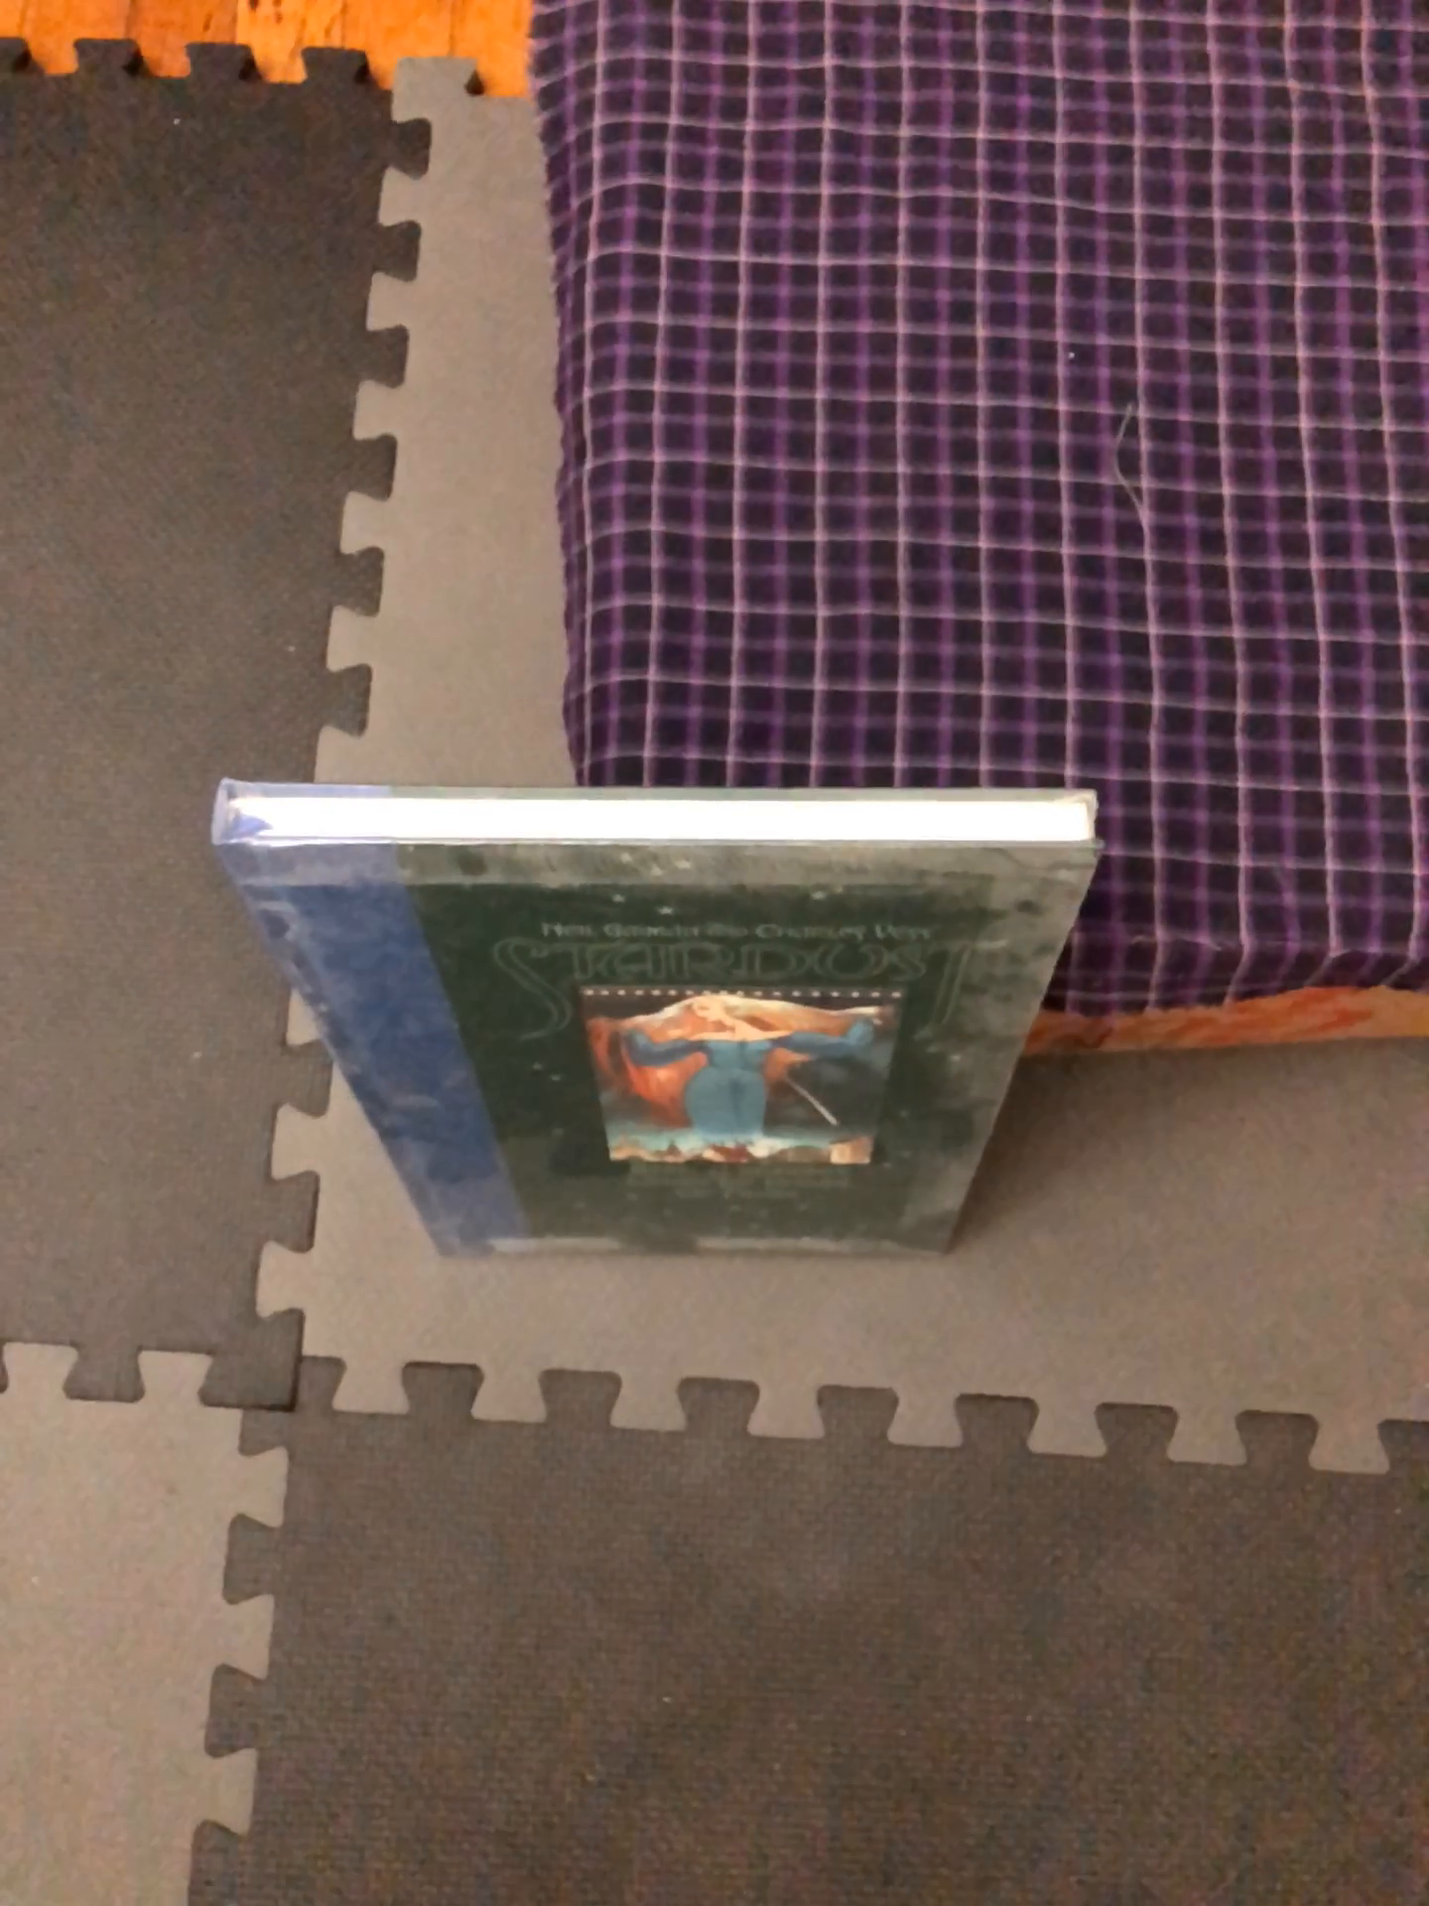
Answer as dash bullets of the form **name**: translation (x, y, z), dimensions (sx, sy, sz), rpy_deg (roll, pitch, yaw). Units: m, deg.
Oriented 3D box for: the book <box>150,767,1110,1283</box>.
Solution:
- **book**: translation (-0.015, 0.045, 0.495), dimensions (0.210, 0.329, 0.020), rpy_deg (0, 62, 2)
